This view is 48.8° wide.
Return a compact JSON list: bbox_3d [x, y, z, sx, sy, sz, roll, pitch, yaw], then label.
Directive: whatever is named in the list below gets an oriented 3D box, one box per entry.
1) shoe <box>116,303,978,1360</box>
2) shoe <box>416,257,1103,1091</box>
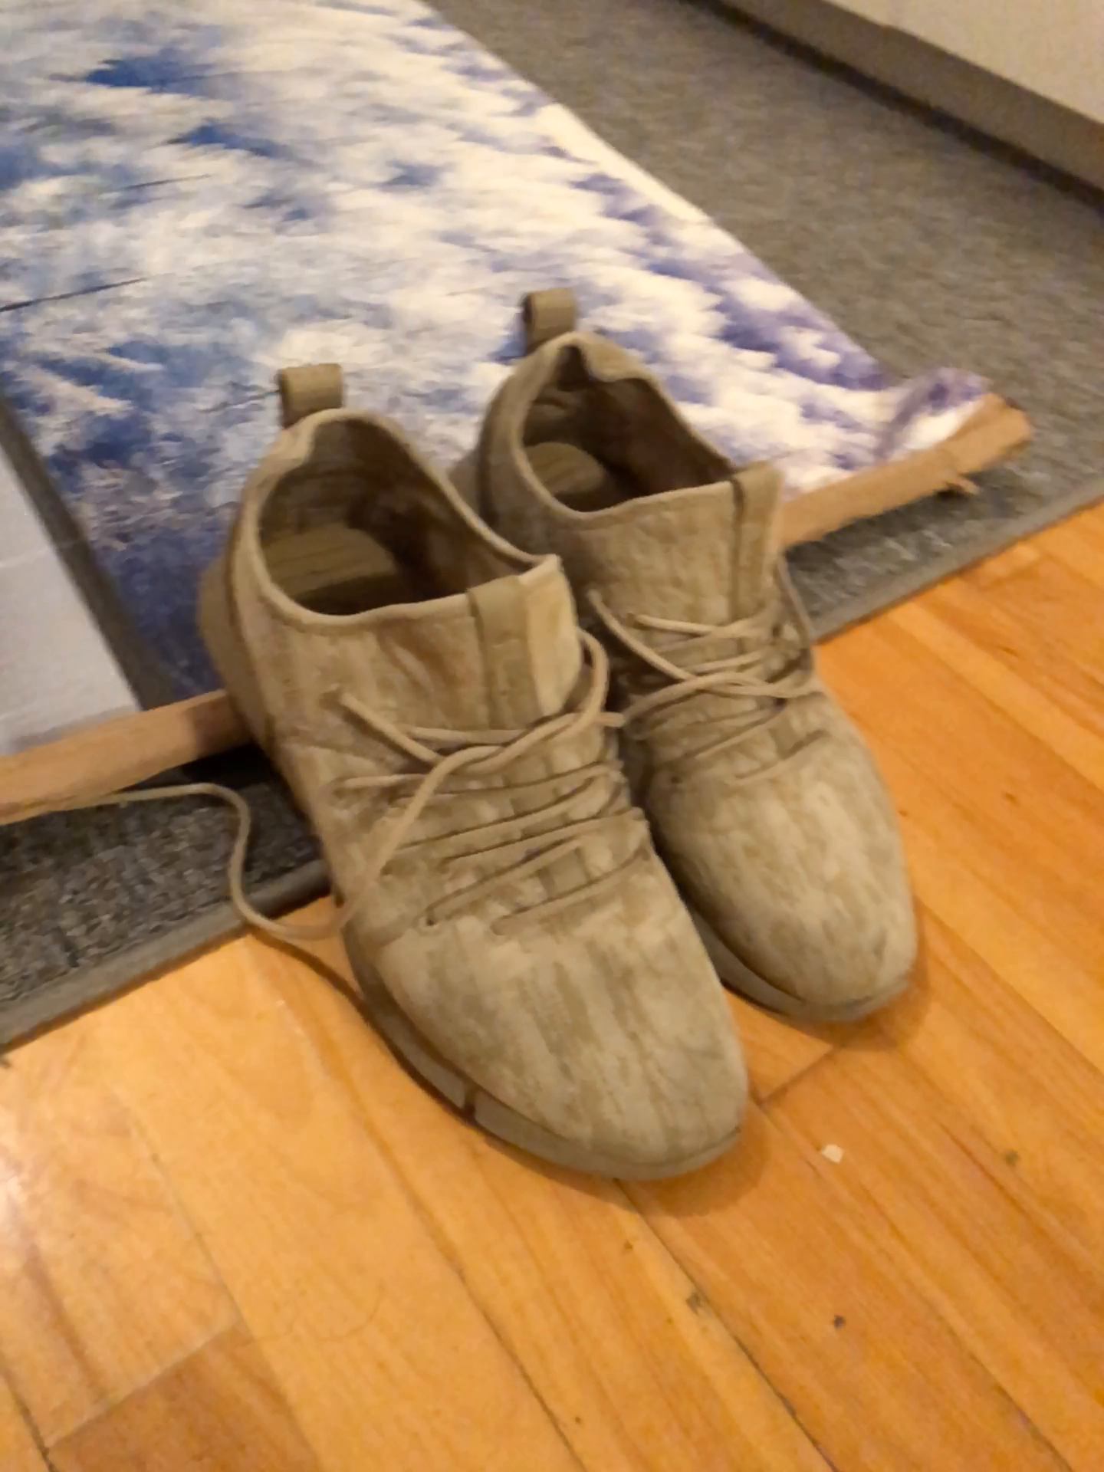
[{"bbox_3d":[-0.017,0.025,0.356,0.110,0.119,0.250,-25,80,-29],"label":"shoe"},{"bbox_3d":[0.067,-0.018,0.433,0.110,0.119,0.250,-22,82,-27],"label":"shoe"}]
